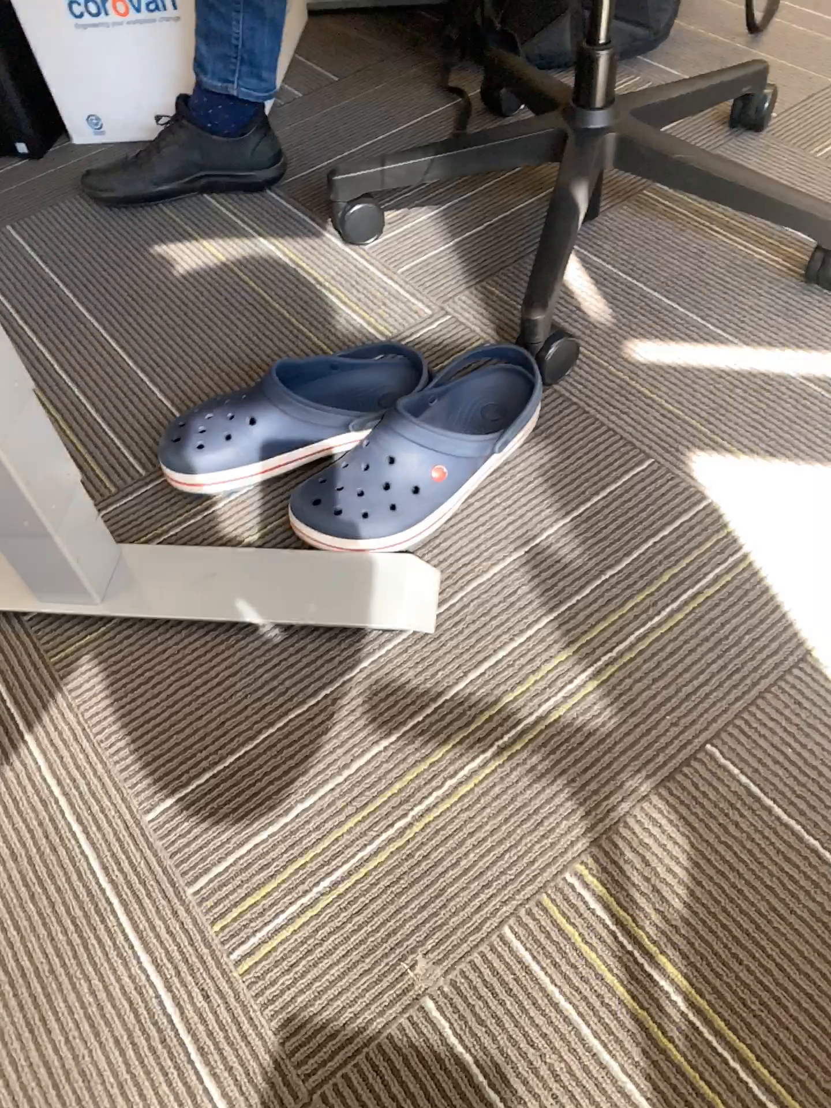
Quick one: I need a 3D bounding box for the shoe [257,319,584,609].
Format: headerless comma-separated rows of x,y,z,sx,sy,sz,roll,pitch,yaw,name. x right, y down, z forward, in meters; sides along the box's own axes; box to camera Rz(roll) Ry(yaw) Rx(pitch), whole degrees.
0.013,-0.104,0.887,0.330,0.080,0.131,-39,59,-20,shoe

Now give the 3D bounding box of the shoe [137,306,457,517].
-0.129,-0.161,0.941,0.320,0.080,0.131,-18,54,-7,shoe
